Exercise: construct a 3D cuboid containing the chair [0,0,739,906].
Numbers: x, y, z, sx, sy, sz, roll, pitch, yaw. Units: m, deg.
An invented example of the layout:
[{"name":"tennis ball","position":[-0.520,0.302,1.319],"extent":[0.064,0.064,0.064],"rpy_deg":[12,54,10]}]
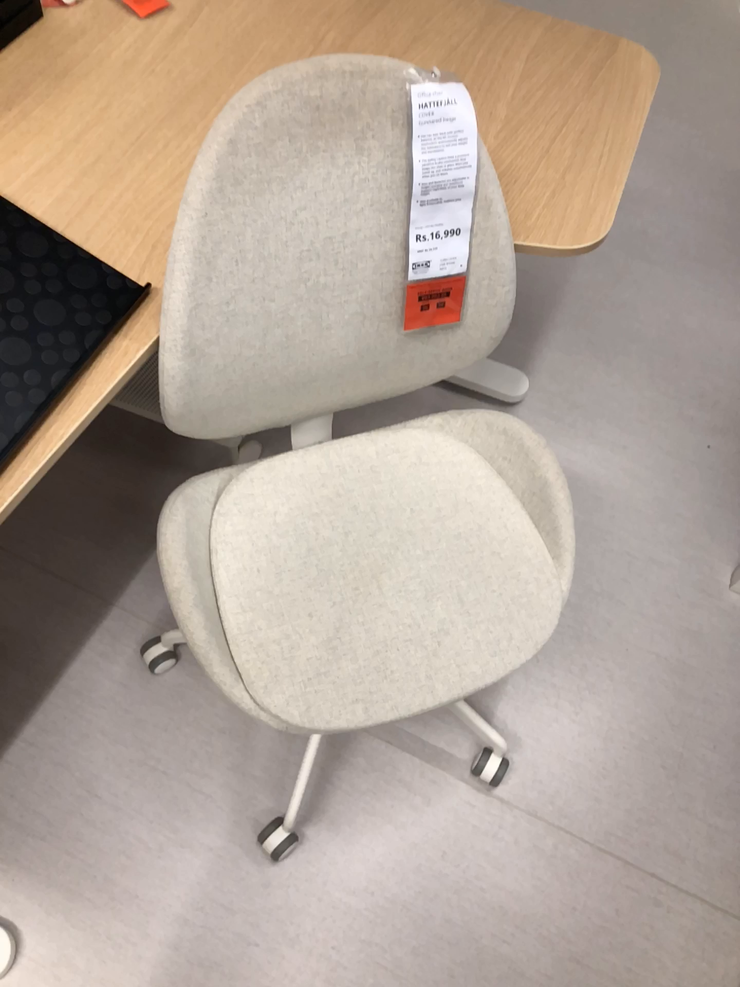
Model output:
[{"name":"chair","position":[-0.008,0.047,1.090],"extent":[0.661,0.995,0.622],"rpy_deg":[-17,62,-16]}]
